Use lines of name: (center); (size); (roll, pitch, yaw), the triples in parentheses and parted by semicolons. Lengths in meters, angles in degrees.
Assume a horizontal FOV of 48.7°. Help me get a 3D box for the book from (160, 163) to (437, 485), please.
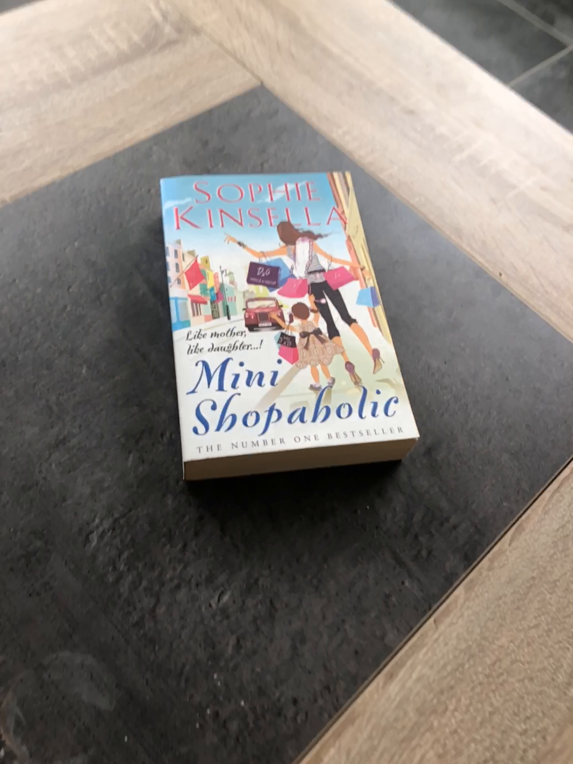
book: (-0.003, -0.046, 0.381); (0.132, 0.036, 0.200); (-5, 61, -9)
